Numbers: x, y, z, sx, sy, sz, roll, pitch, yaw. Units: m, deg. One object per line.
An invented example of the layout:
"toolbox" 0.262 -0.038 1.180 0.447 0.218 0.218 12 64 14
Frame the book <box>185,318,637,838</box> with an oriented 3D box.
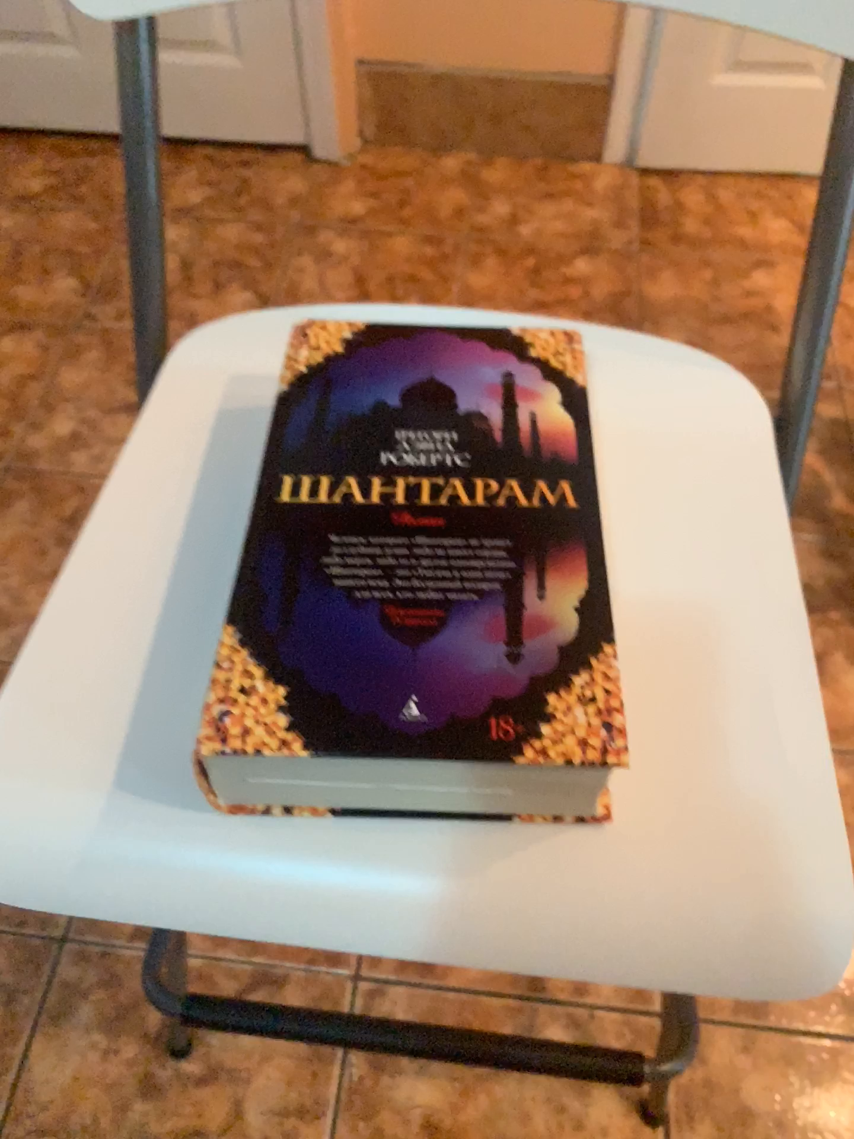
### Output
"book" 0.000 -0.013 0.374 0.145 0.044 0.237 1 52 2
